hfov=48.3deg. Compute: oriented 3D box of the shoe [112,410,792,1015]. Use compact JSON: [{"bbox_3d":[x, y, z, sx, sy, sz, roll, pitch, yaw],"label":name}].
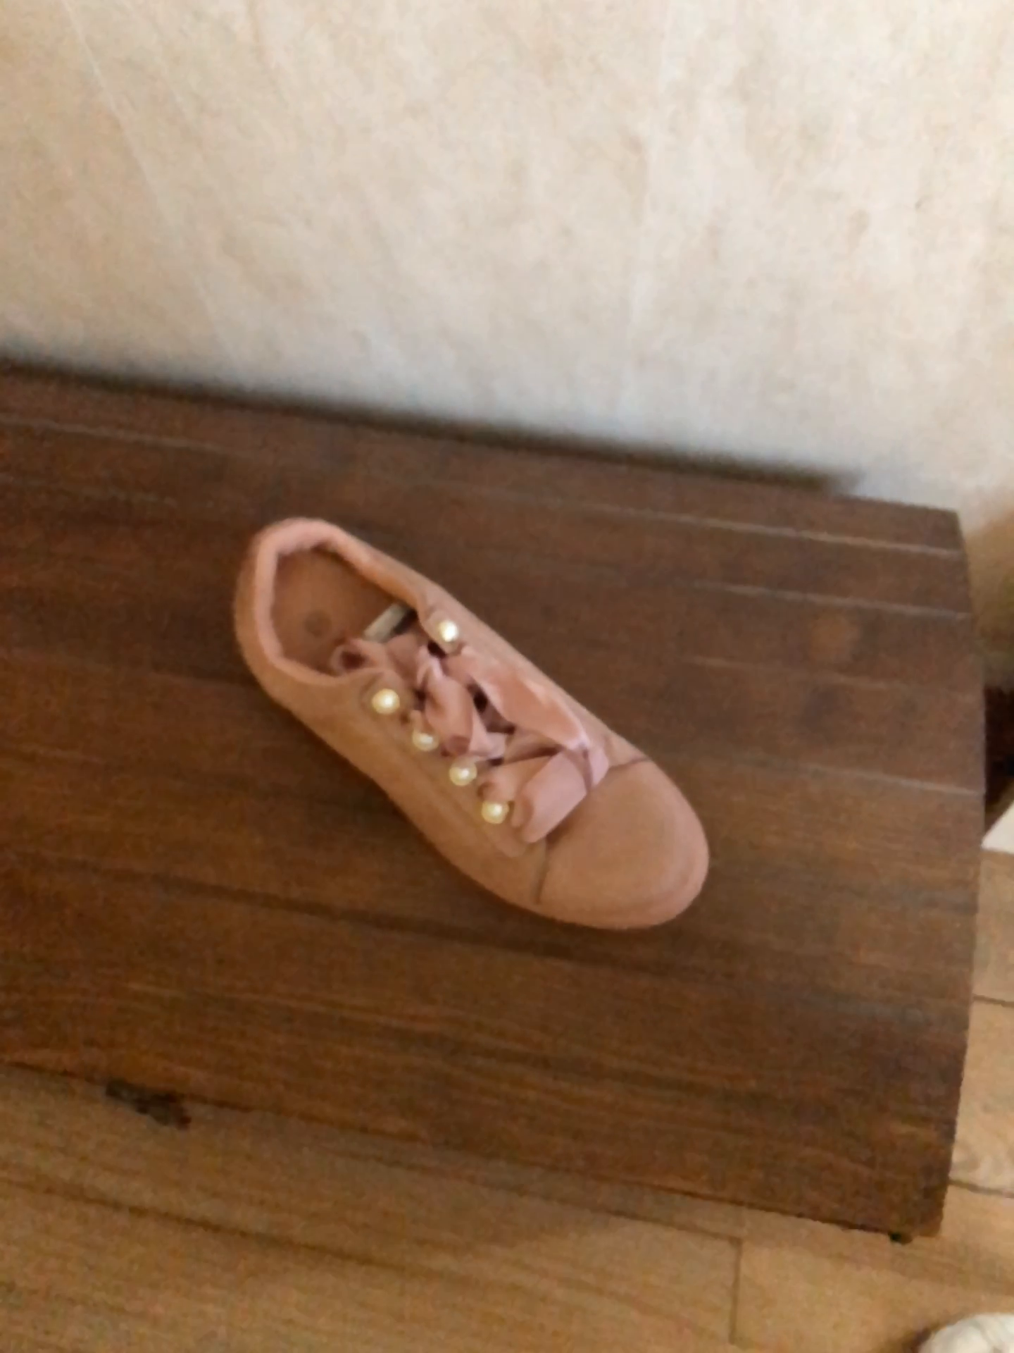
[{"bbox_3d":[-0.027,0.017,0.515,0.280,0.090,0.110,38,78,12],"label":"shoe"}]
